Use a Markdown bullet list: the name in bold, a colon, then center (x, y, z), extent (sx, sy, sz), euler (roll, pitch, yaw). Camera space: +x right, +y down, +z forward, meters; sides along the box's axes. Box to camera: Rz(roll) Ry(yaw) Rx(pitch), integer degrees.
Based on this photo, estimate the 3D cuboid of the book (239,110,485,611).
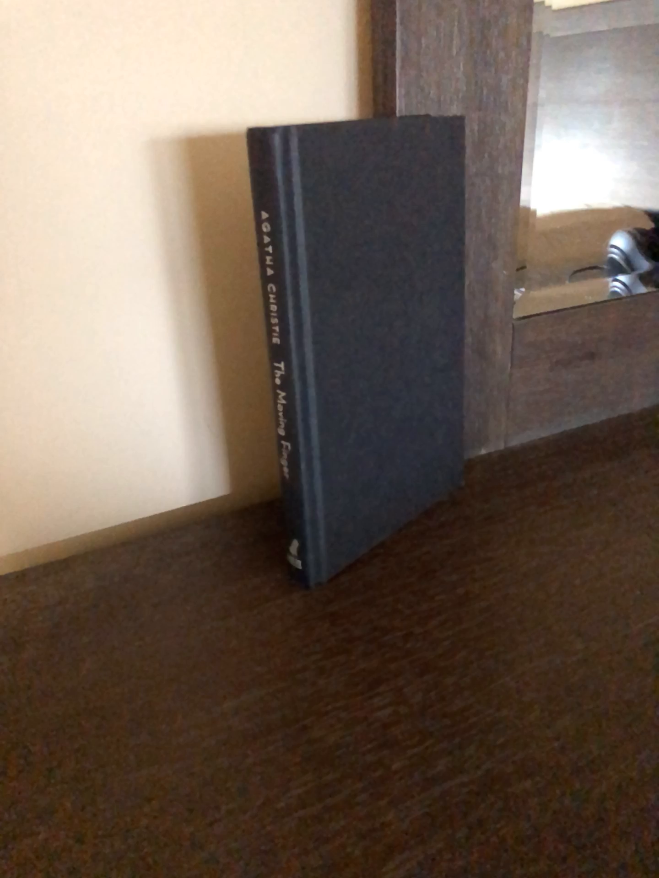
- **book**: center (0.028, -0.046, 0.384), extent (0.028, 0.229, 0.150), euler (16, 30, 38)
